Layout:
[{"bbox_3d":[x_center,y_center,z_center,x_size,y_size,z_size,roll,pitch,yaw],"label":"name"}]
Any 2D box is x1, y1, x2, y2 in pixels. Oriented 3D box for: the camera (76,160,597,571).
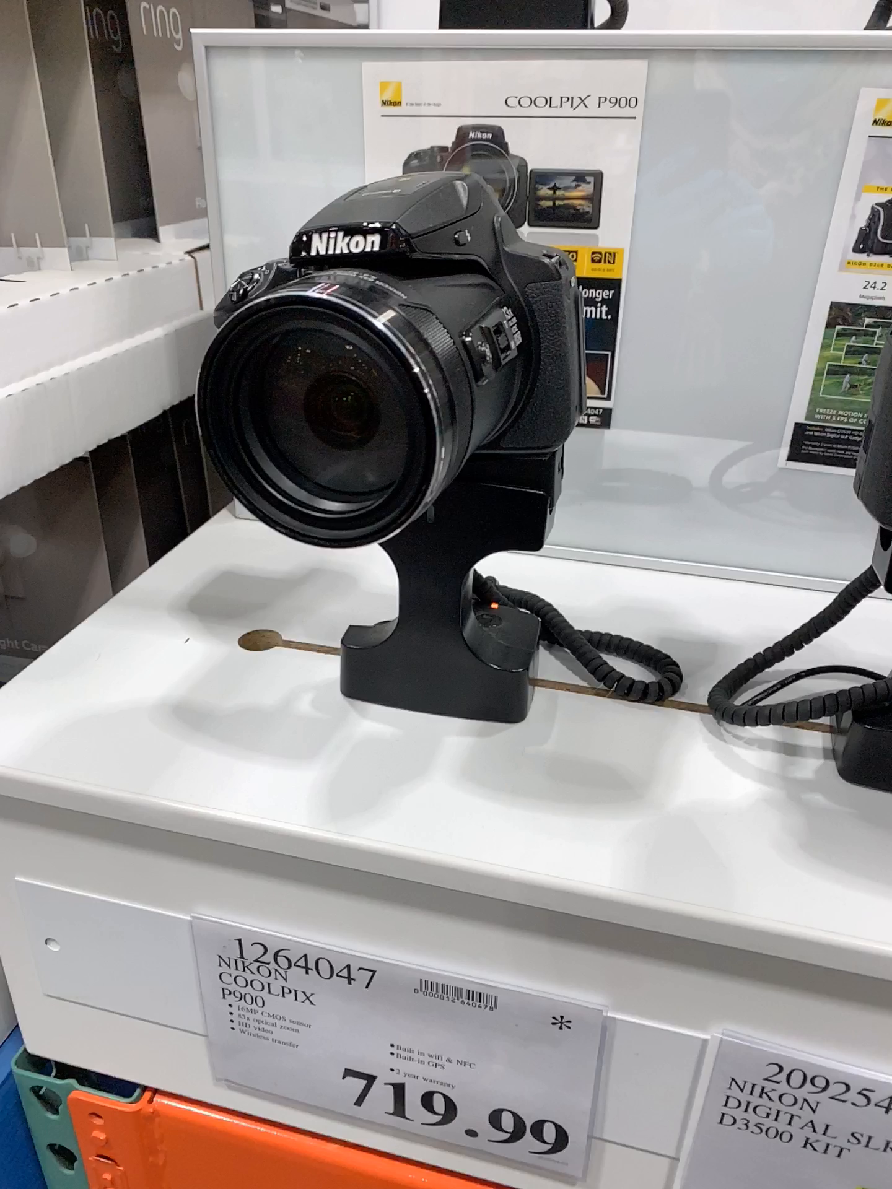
[{"bbox_3d":[-0.022,-0.095,0.342,0.130,0.109,0.151,5,27,18],"label":"camera"}]
